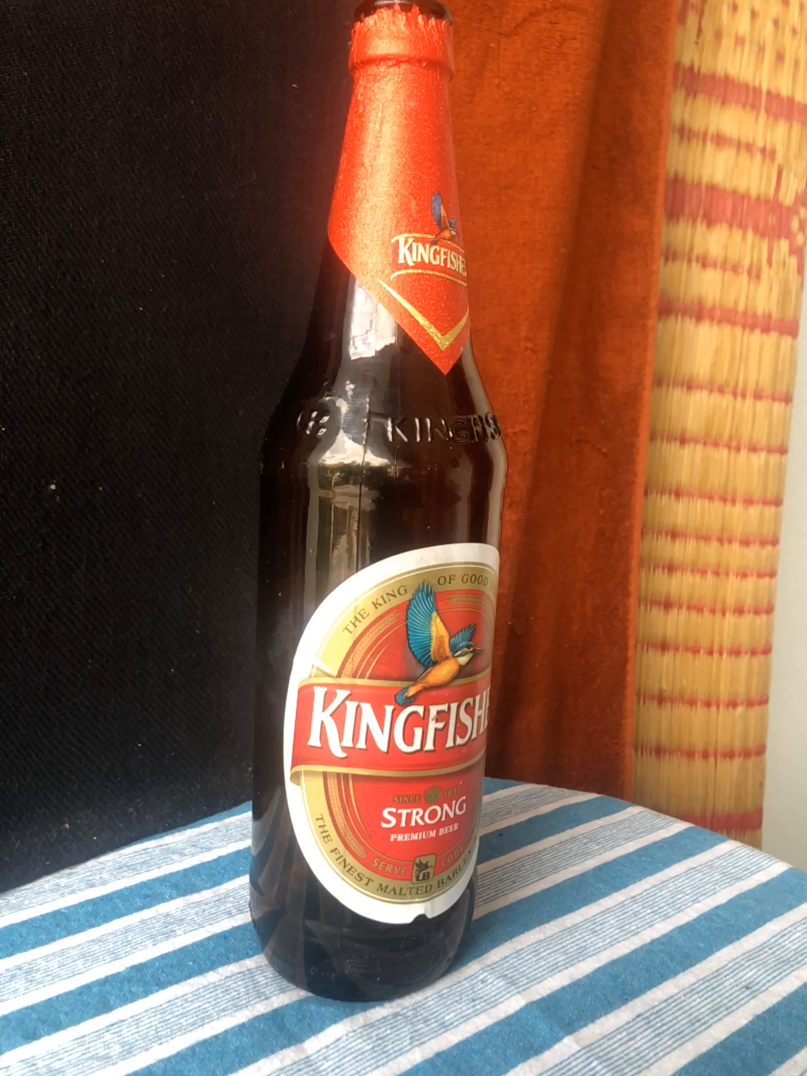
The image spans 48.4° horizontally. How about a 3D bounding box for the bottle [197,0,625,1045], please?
[{"bbox_3d":[-0.006,-0.010,0.272,0.080,0.289,0.070,-2,13,-34],"label":"bottle"}]
